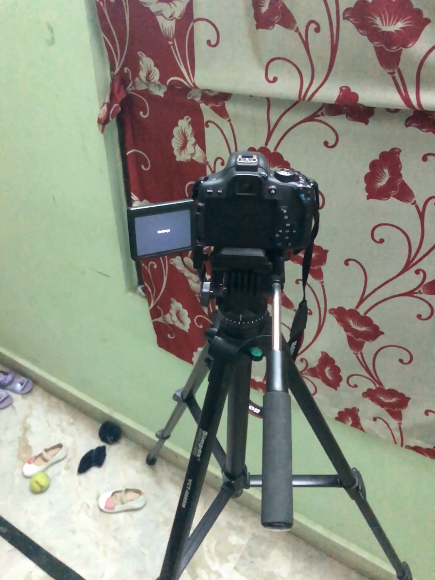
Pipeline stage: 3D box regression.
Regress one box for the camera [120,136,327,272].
[{"bbox_3d":[0.011,-0.103,0.544,0.200,0.087,0.141,3,38,4],"label":"camera"}]
